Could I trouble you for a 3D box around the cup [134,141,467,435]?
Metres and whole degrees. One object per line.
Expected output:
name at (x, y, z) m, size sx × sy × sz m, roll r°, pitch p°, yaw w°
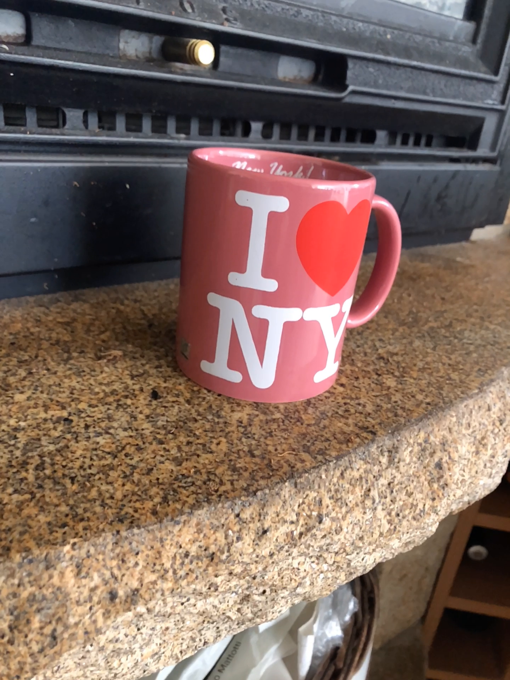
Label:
cup at (0.019, -0.036, 0.278) m, size 0.121 × 0.099 × 0.090 m, roll -14°, pitch 32°, yaw -39°
